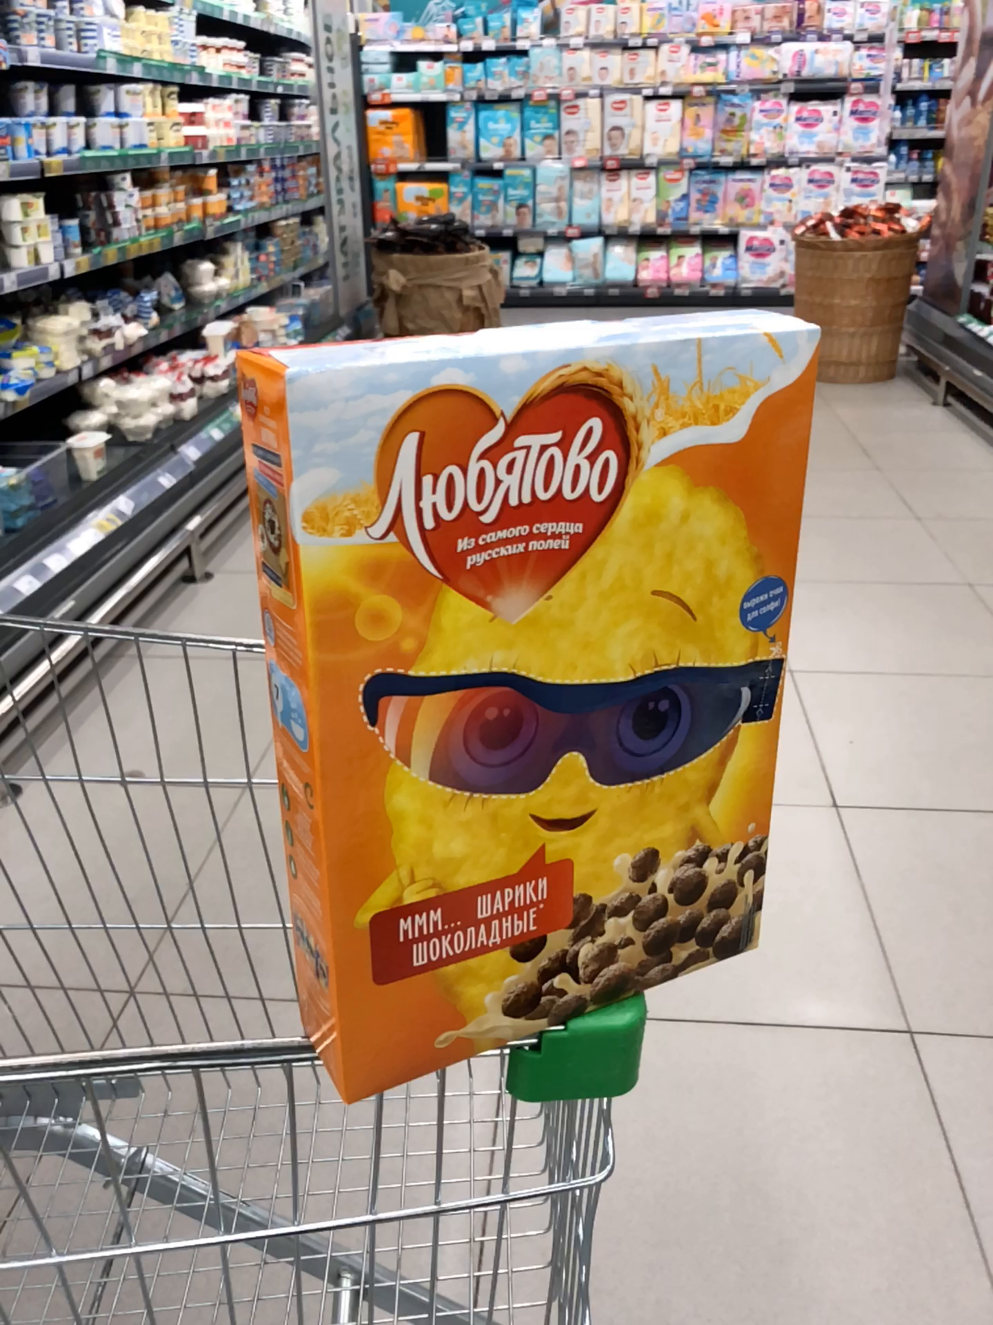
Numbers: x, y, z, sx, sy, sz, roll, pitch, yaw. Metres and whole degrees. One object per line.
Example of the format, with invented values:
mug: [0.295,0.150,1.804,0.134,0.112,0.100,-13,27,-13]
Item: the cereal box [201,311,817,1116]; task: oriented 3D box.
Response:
cereal box: [0.011,0.013,0.401,0.200,0.259,0.050,-12,25,-26]
